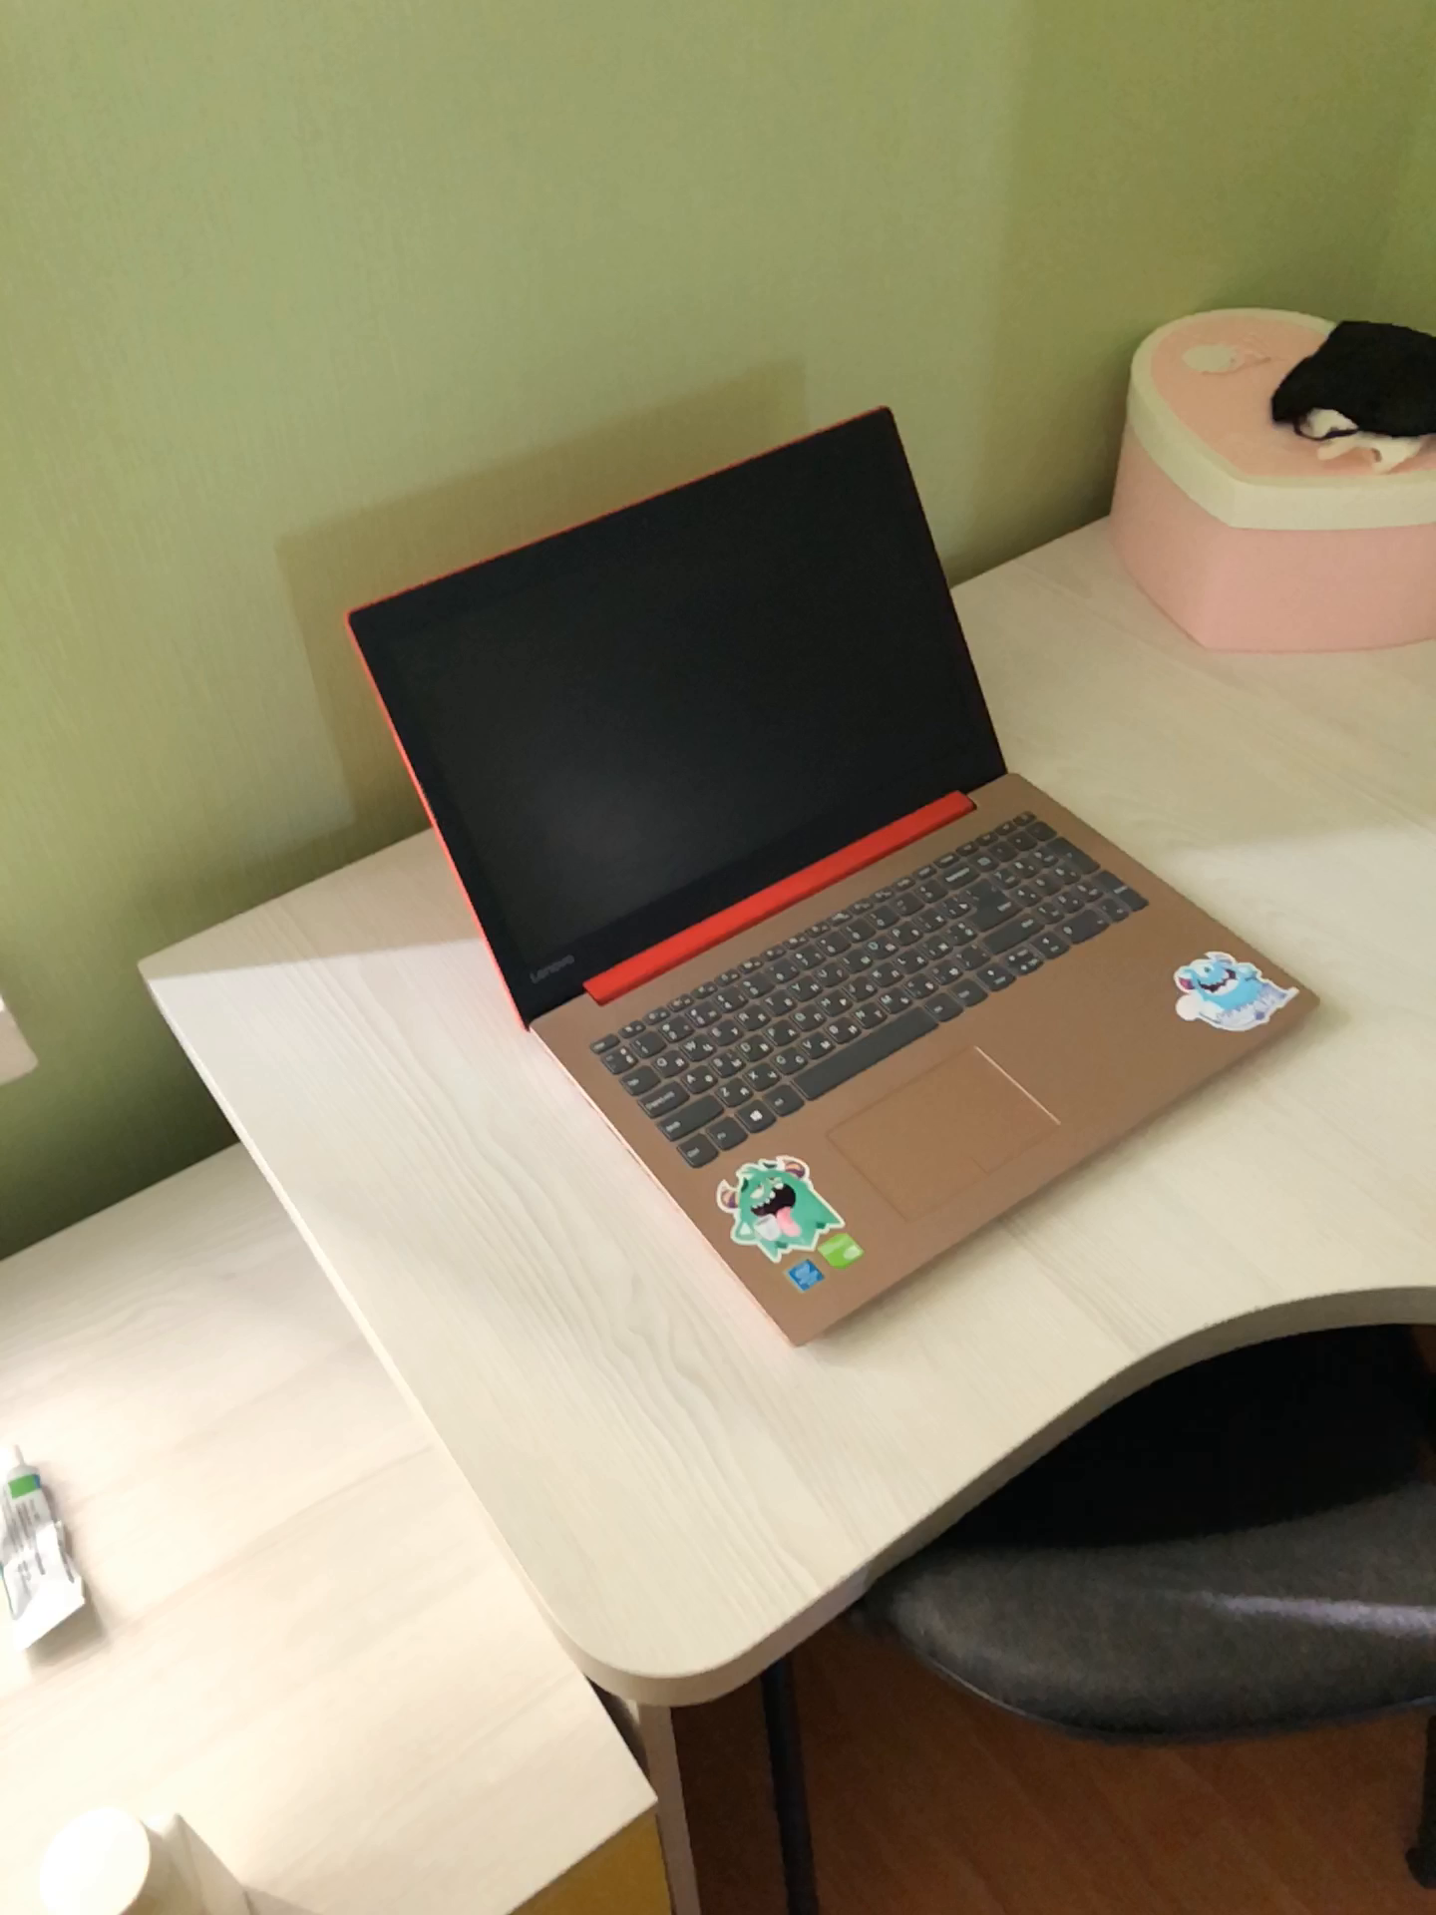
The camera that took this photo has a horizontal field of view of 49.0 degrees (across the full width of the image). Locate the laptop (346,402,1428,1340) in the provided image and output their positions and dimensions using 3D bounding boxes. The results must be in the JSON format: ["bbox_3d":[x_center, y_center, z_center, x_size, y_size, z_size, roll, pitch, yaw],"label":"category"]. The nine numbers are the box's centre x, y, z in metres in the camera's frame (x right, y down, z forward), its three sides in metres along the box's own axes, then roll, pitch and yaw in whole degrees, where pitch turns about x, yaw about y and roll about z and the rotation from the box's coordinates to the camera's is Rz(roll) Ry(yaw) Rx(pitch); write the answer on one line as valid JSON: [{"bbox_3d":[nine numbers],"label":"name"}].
[{"bbox_3d":[0.074,-0.083,0.869,0.375,0.198,0.402,-28,51,-23],"label":"laptop"}]
